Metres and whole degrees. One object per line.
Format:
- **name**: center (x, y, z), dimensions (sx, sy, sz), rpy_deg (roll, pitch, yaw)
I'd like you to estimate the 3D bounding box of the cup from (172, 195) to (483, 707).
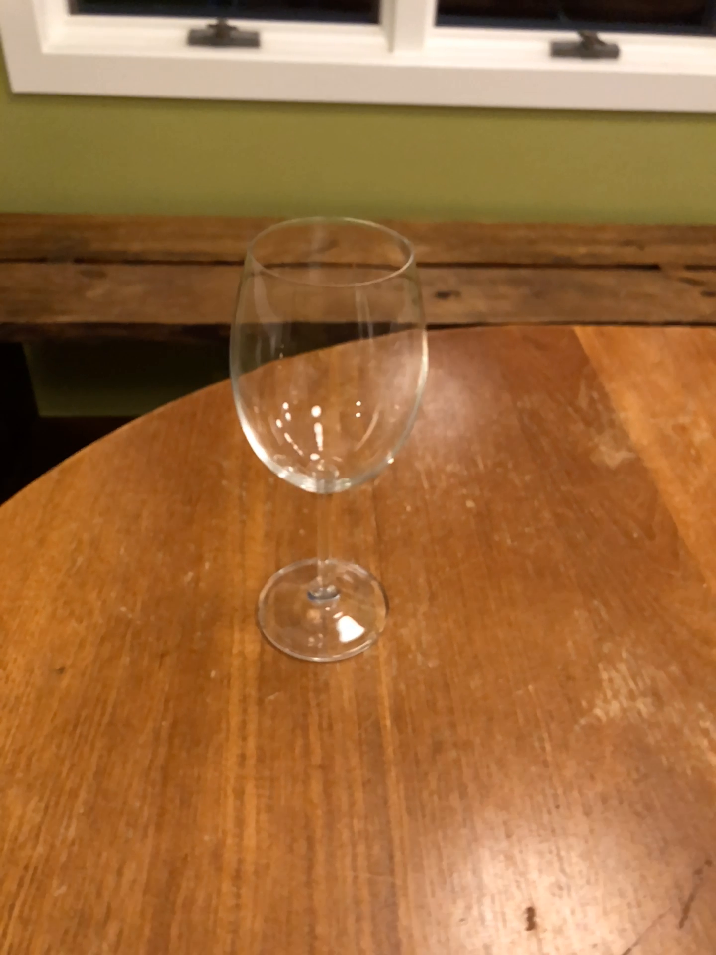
- **cup**: center (-0.016, -0.007, 0.430), dimensions (0.100, 0.240, 0.098), rpy_deg (2, 39, -1)
